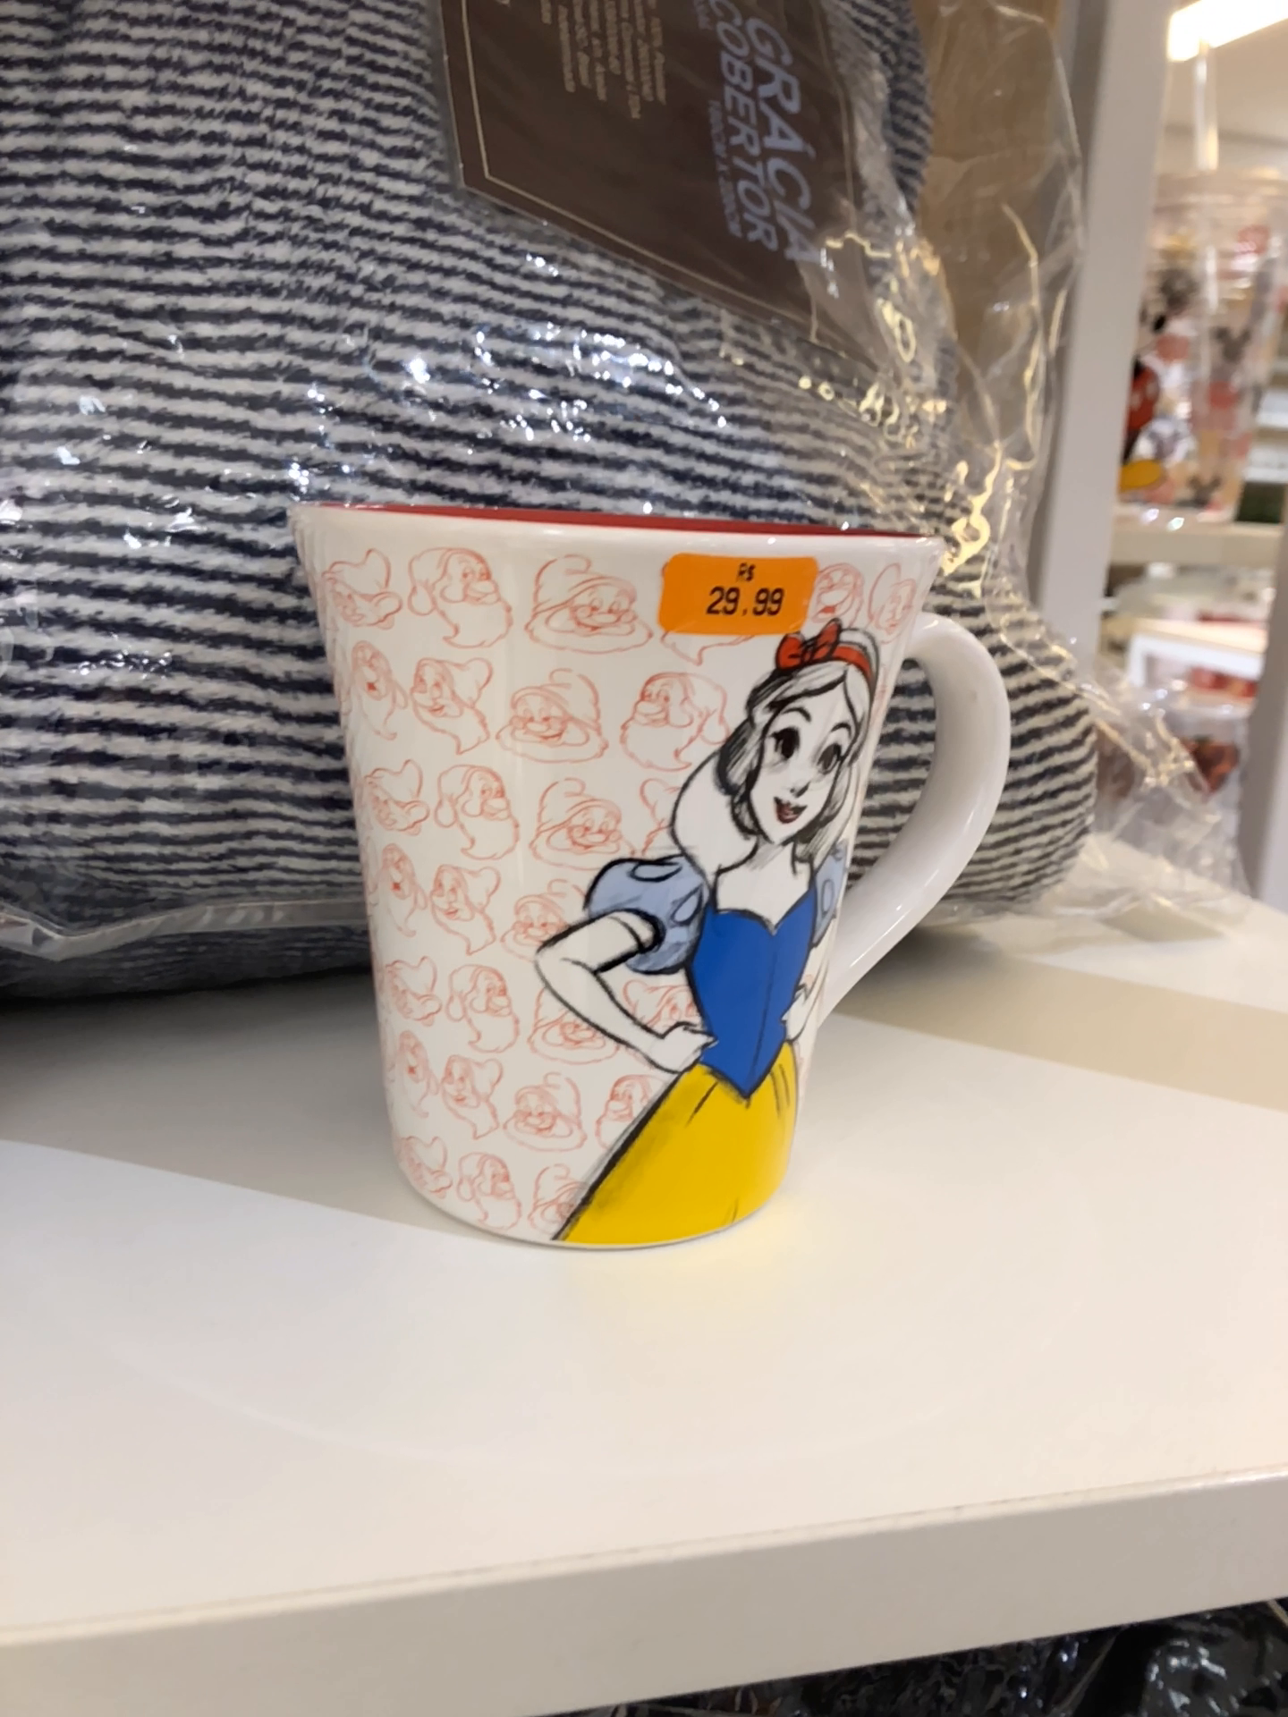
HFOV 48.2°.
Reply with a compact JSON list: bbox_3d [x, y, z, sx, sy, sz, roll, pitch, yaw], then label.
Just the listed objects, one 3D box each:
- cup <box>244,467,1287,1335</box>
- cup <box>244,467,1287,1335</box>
[{"bbox_3d":[0.013,-0.008,0.214,0.120,0.090,0.090,-5,17,-30],"label":"cup"},{"bbox_3d":[0.013,-0.008,0.214,0.120,0.090,0.090,-5,17,-30],"label":"cup"}]
